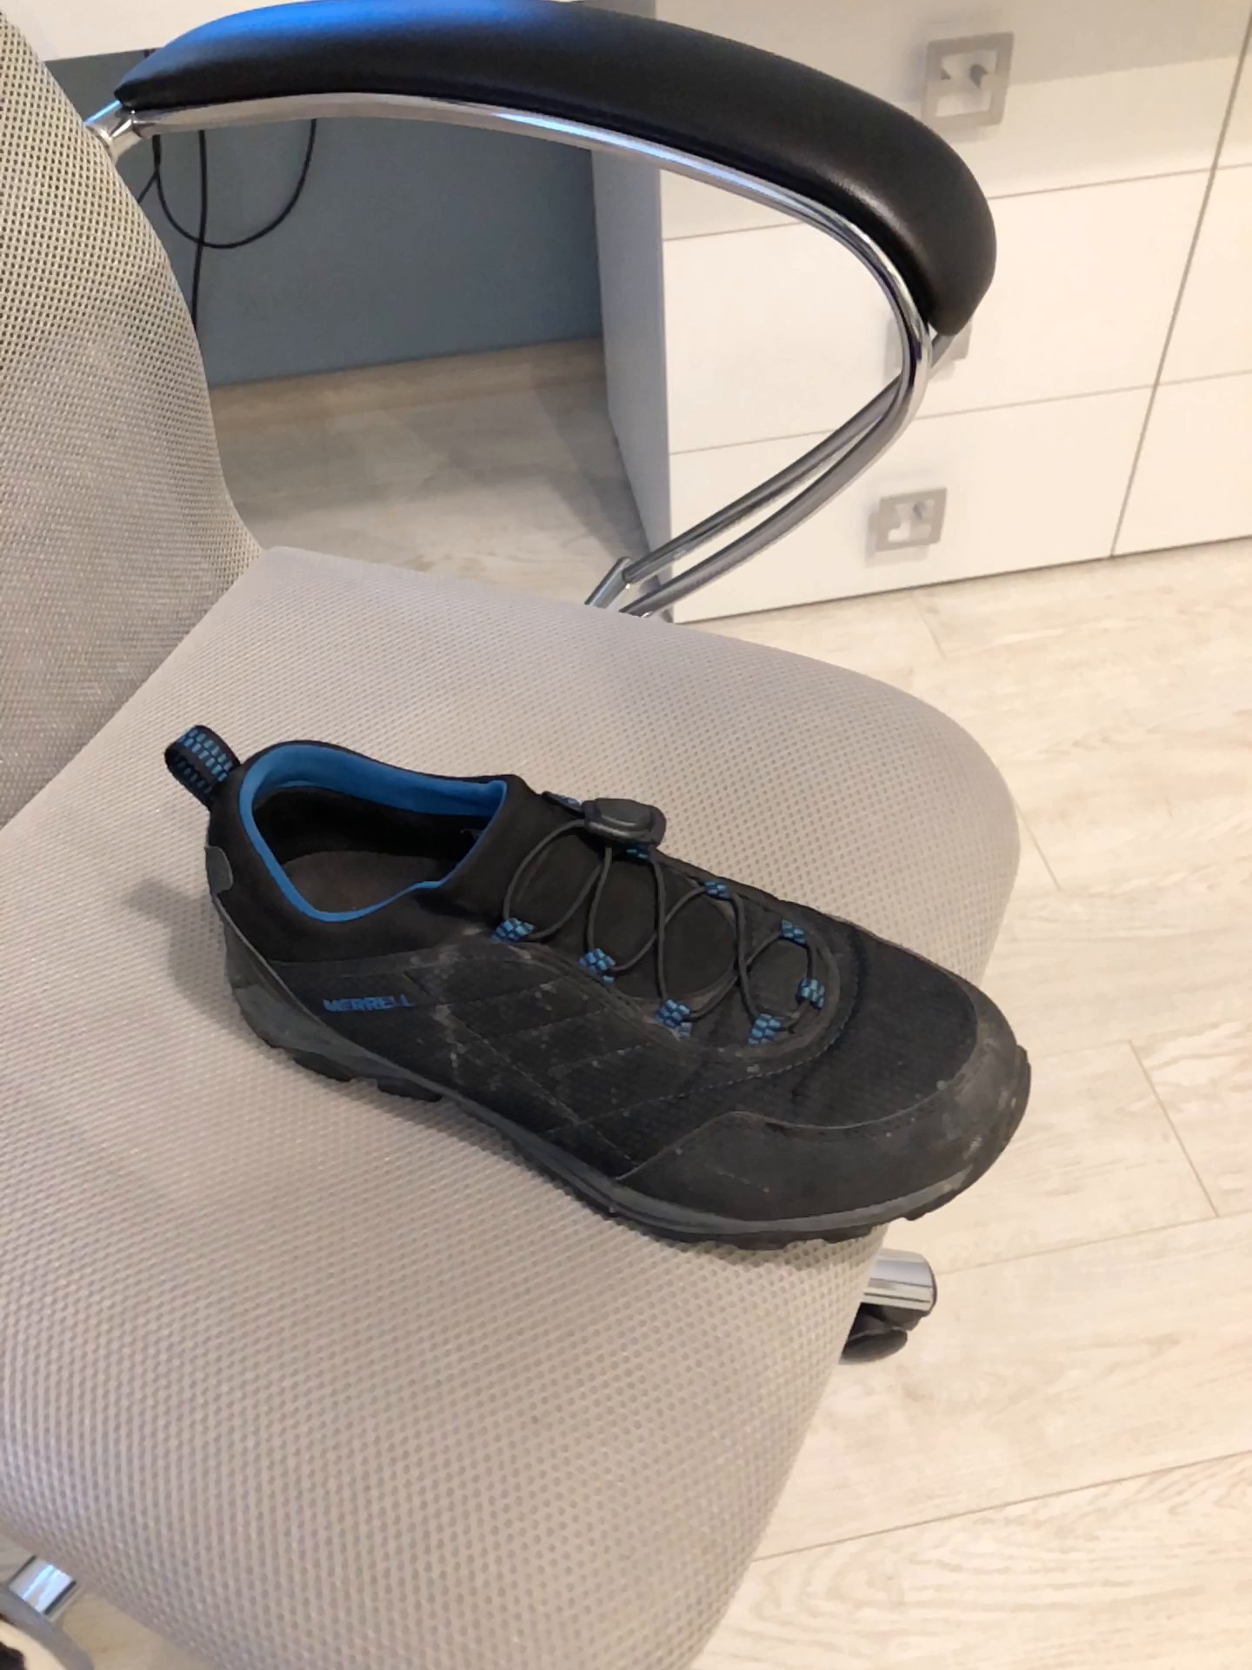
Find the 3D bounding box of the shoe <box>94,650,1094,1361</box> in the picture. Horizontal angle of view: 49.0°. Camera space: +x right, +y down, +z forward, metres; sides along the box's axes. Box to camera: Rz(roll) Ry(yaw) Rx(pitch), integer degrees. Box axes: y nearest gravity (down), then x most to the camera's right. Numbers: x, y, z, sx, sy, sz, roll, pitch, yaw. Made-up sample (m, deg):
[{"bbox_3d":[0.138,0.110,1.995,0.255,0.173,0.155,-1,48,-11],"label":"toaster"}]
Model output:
[{"bbox_3d":[-0.010,0.050,0.489,0.300,0.109,0.129,16,52,16],"label":"shoe"}]
